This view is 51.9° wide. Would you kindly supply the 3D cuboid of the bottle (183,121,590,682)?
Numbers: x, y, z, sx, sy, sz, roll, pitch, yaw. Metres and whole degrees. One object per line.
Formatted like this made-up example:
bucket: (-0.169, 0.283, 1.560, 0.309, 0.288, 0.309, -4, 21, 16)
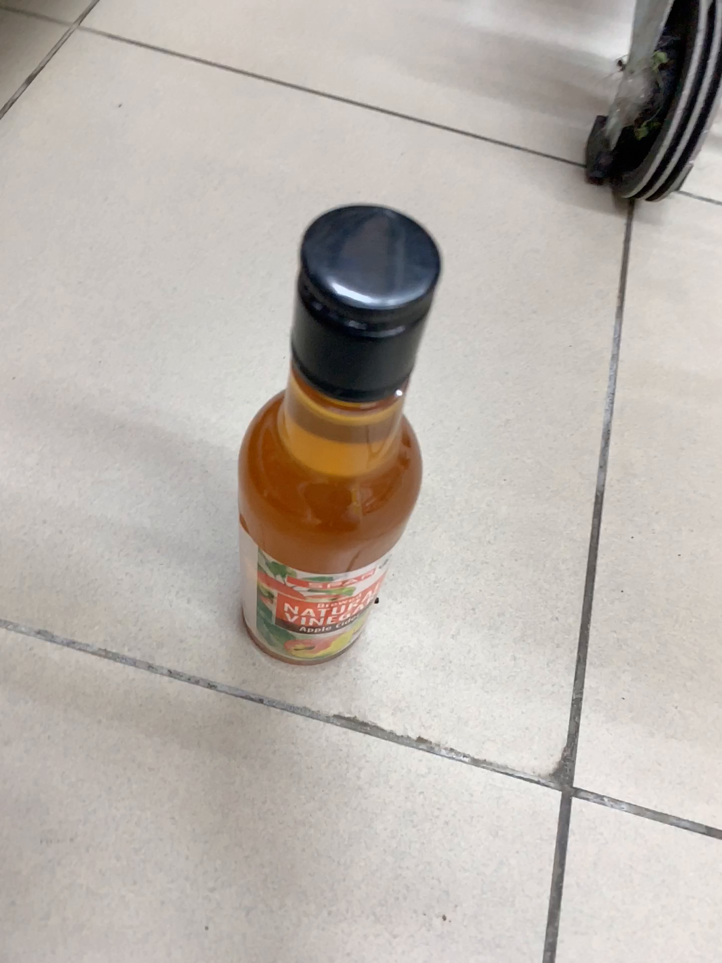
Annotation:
bottle: (-0.009, 0.003, 0.238, 0.070, 0.220, 0.060, -5, 62, -10)
